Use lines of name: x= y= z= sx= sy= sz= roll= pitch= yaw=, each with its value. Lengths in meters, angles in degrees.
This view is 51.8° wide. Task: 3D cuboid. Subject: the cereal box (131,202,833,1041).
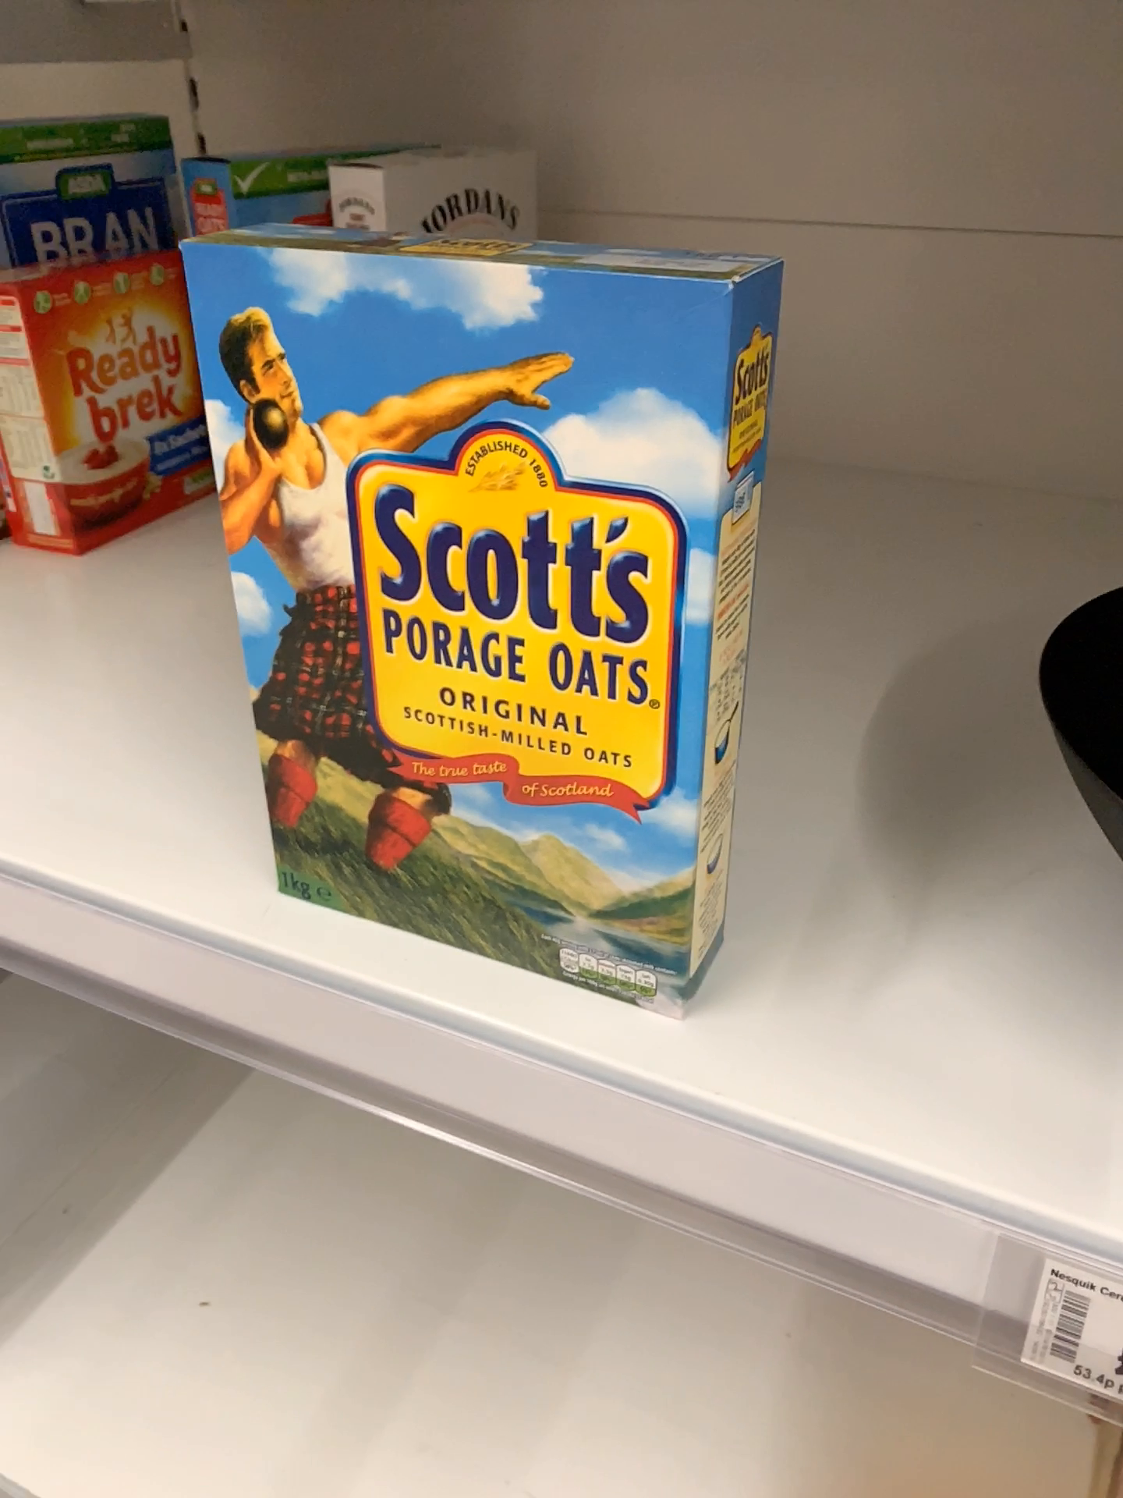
cereal box: x=-0.027 y=-0.047 z=0.427 sx=0.210 sy=0.267 sz=0.071 roll=13 pitch=33 yaw=22
